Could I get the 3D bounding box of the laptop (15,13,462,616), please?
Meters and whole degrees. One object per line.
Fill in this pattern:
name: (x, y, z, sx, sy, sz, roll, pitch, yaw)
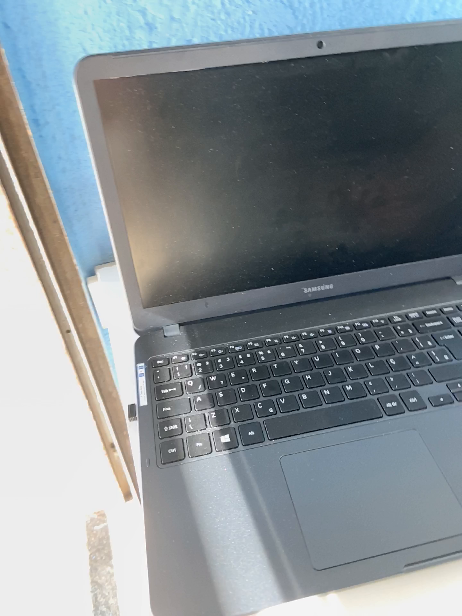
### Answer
laptop: (0.102, -0.031, 0.332, 0.370, 0.232, 0.288, -10, 40, -7)
